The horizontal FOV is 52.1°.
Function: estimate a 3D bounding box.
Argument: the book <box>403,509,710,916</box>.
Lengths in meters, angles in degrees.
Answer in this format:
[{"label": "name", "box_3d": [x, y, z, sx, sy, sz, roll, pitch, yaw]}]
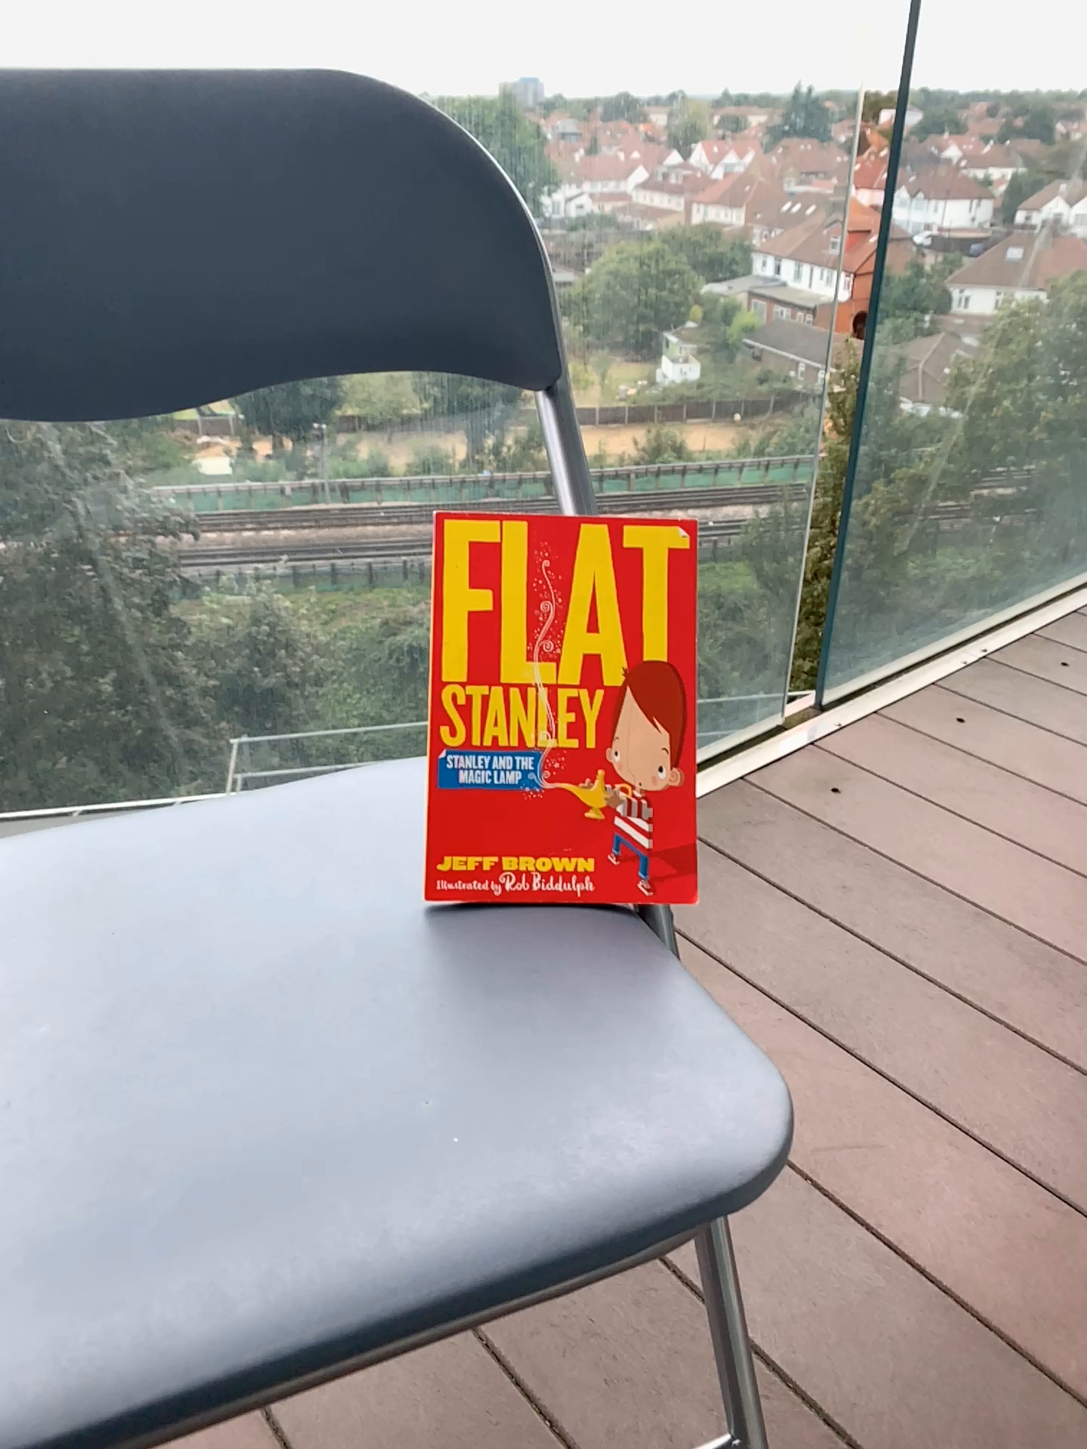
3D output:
[{"label": "book", "box_3d": [0.007, -0.007, 0.528, 0.140, 0.190, 0.020, 0, -6, 1]}]
